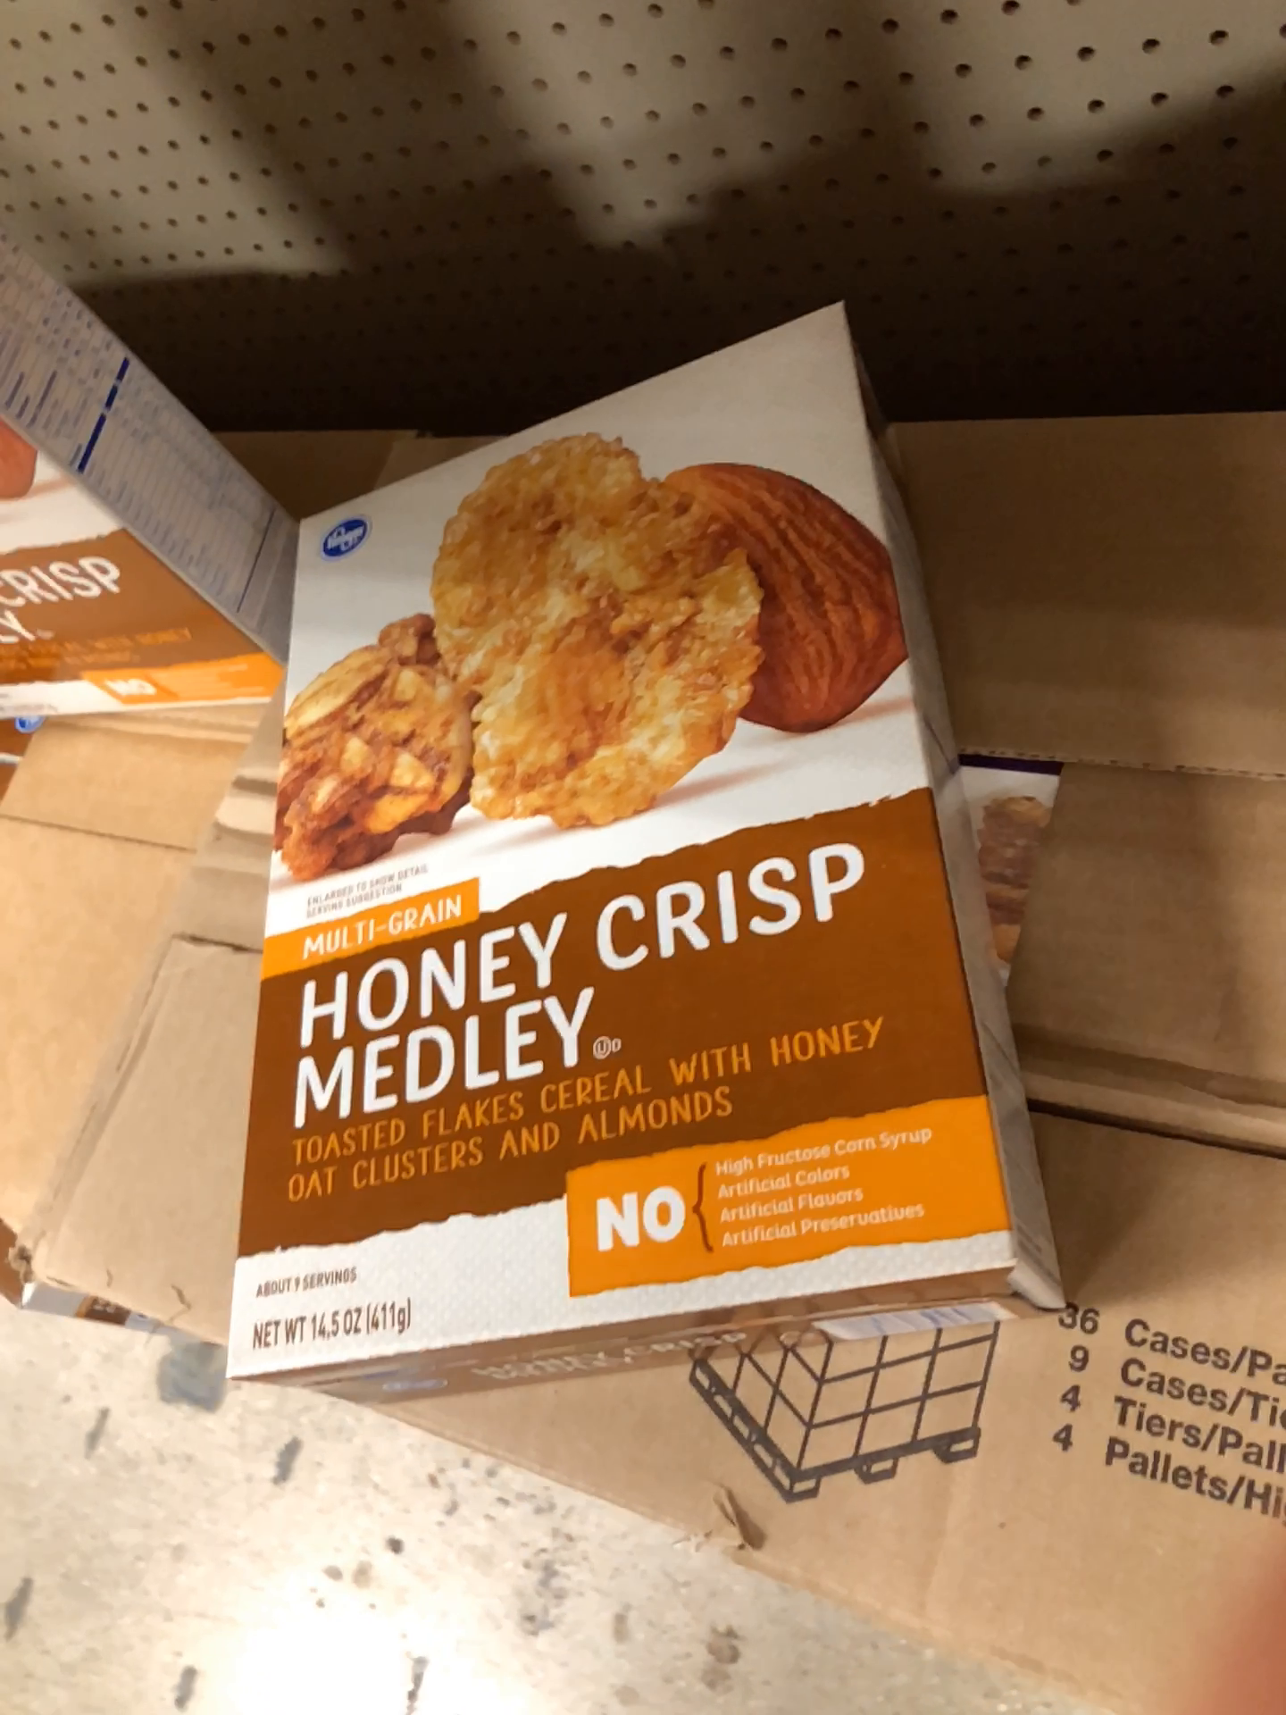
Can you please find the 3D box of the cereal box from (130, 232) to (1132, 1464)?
[{"bbox_3d":[-0.014,-0.006,0.359,0.200,0.060,0.270,-15,59,20],"label":"cereal box"}]
